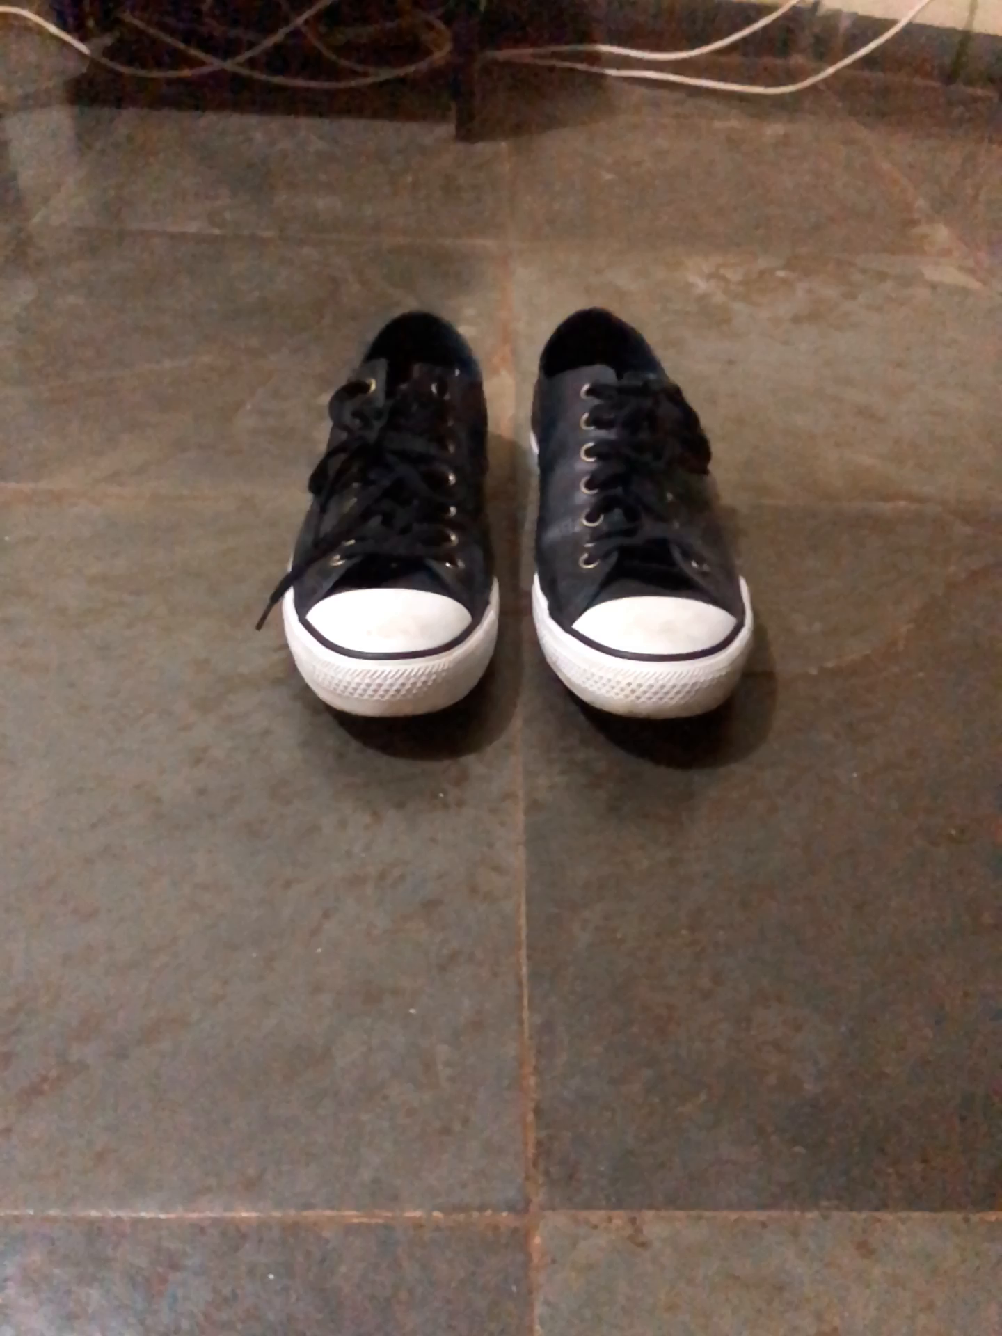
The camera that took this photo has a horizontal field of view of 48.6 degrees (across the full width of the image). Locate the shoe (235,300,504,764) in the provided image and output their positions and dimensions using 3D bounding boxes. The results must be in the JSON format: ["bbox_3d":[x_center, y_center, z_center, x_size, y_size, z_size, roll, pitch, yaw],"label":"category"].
[{"bbox_3d":[-0.054,-0.085,0.551,0.100,0.079,0.292,1,40,-3],"label":"shoe"}]

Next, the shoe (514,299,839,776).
[{"bbox_3d":[0.069,-0.086,0.565,0.110,0.079,0.312,1,40,-3],"label":"shoe"}]
